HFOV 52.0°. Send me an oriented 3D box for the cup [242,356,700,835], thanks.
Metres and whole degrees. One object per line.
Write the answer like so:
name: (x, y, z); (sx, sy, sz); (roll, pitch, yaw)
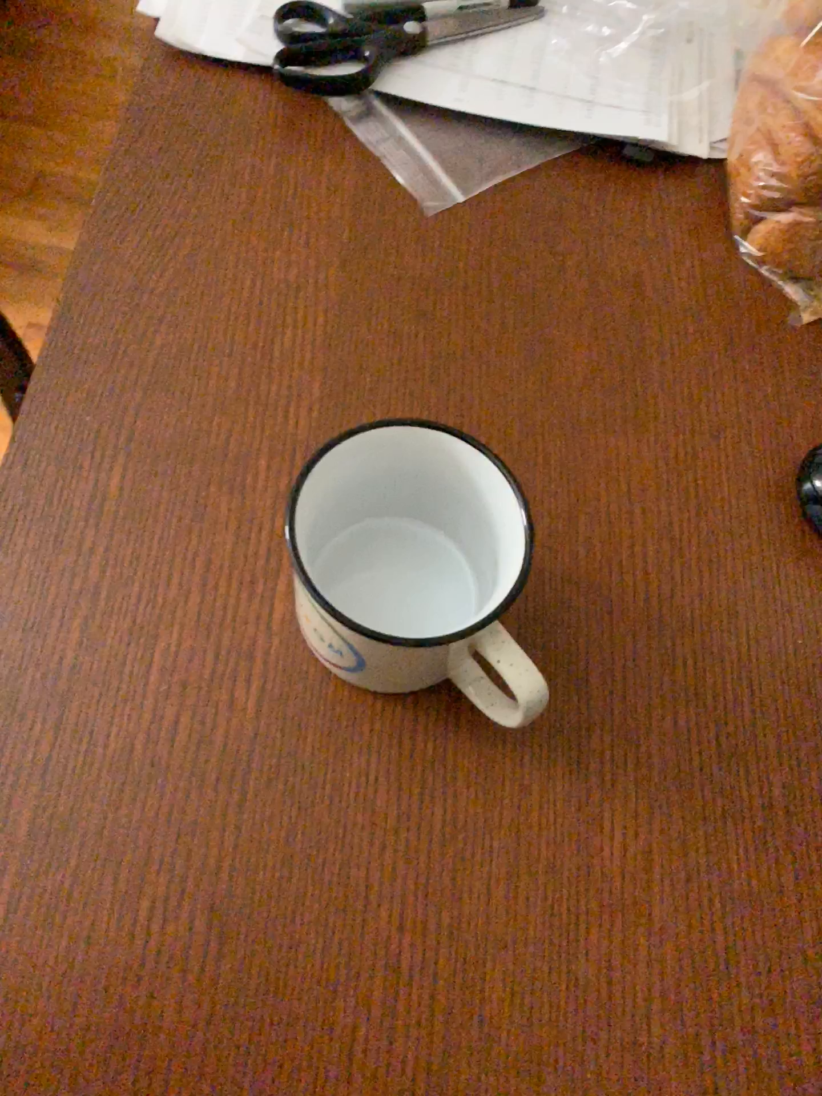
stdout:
cup: (0.016, 0.023, 0.359); (0.100, 0.100, 0.150); (-34, 74, -20)
